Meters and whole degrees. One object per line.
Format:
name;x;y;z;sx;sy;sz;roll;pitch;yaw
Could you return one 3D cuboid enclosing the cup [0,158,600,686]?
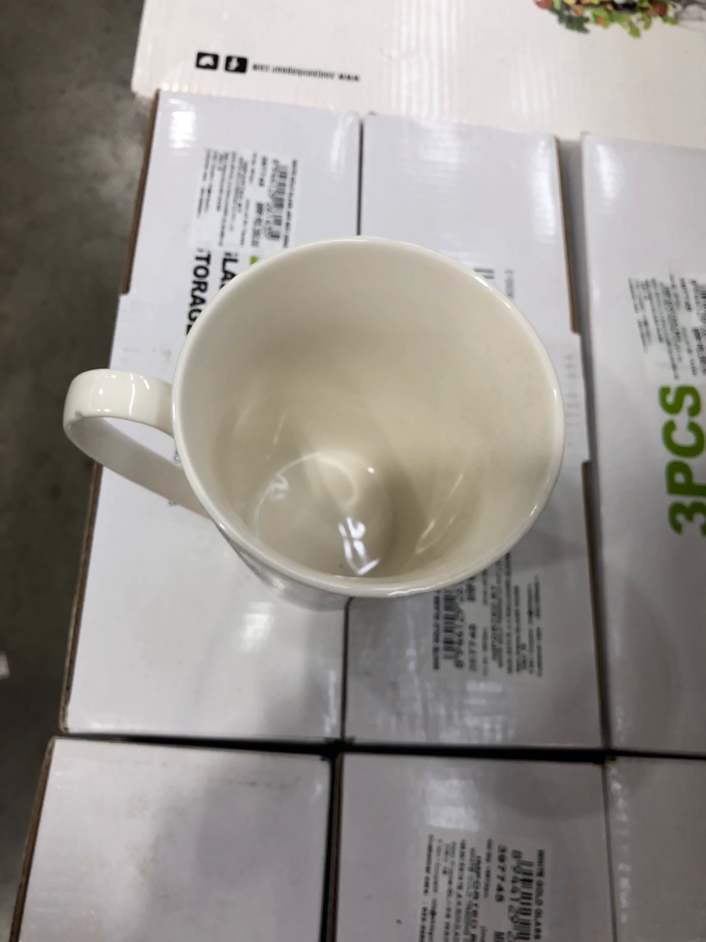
cup;-0.016;-0.003;0.223;0.130;0.100;0.090;12;69;-1
